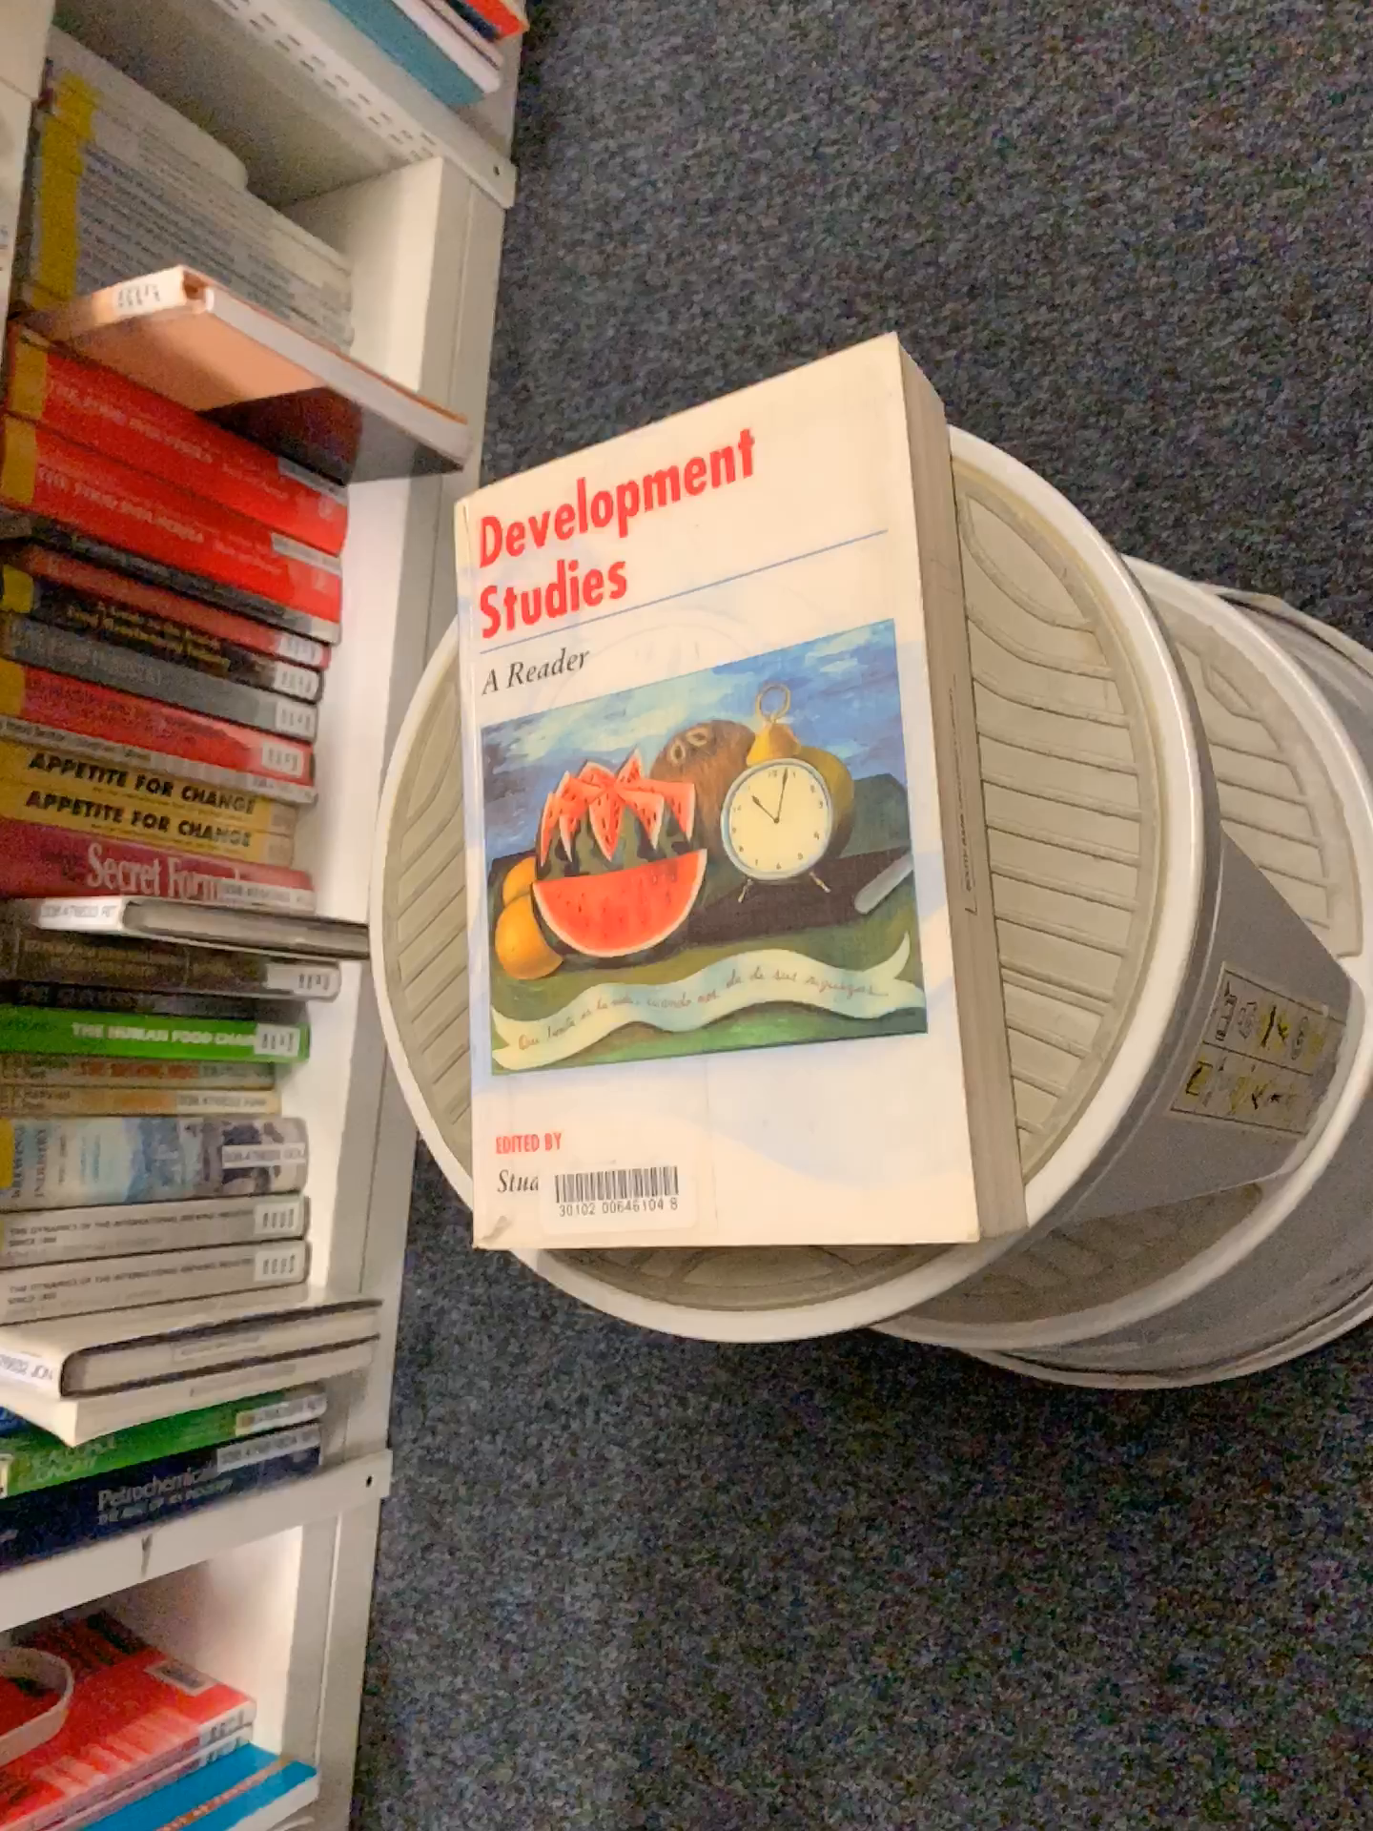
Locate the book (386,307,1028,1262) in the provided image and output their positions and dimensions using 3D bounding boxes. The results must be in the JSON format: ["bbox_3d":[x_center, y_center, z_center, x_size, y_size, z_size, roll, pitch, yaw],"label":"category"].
[{"bbox_3d":[-0.003,-0.024,0.382,0.160,0.046,0.225,-9,79,31],"label":"book"}]
